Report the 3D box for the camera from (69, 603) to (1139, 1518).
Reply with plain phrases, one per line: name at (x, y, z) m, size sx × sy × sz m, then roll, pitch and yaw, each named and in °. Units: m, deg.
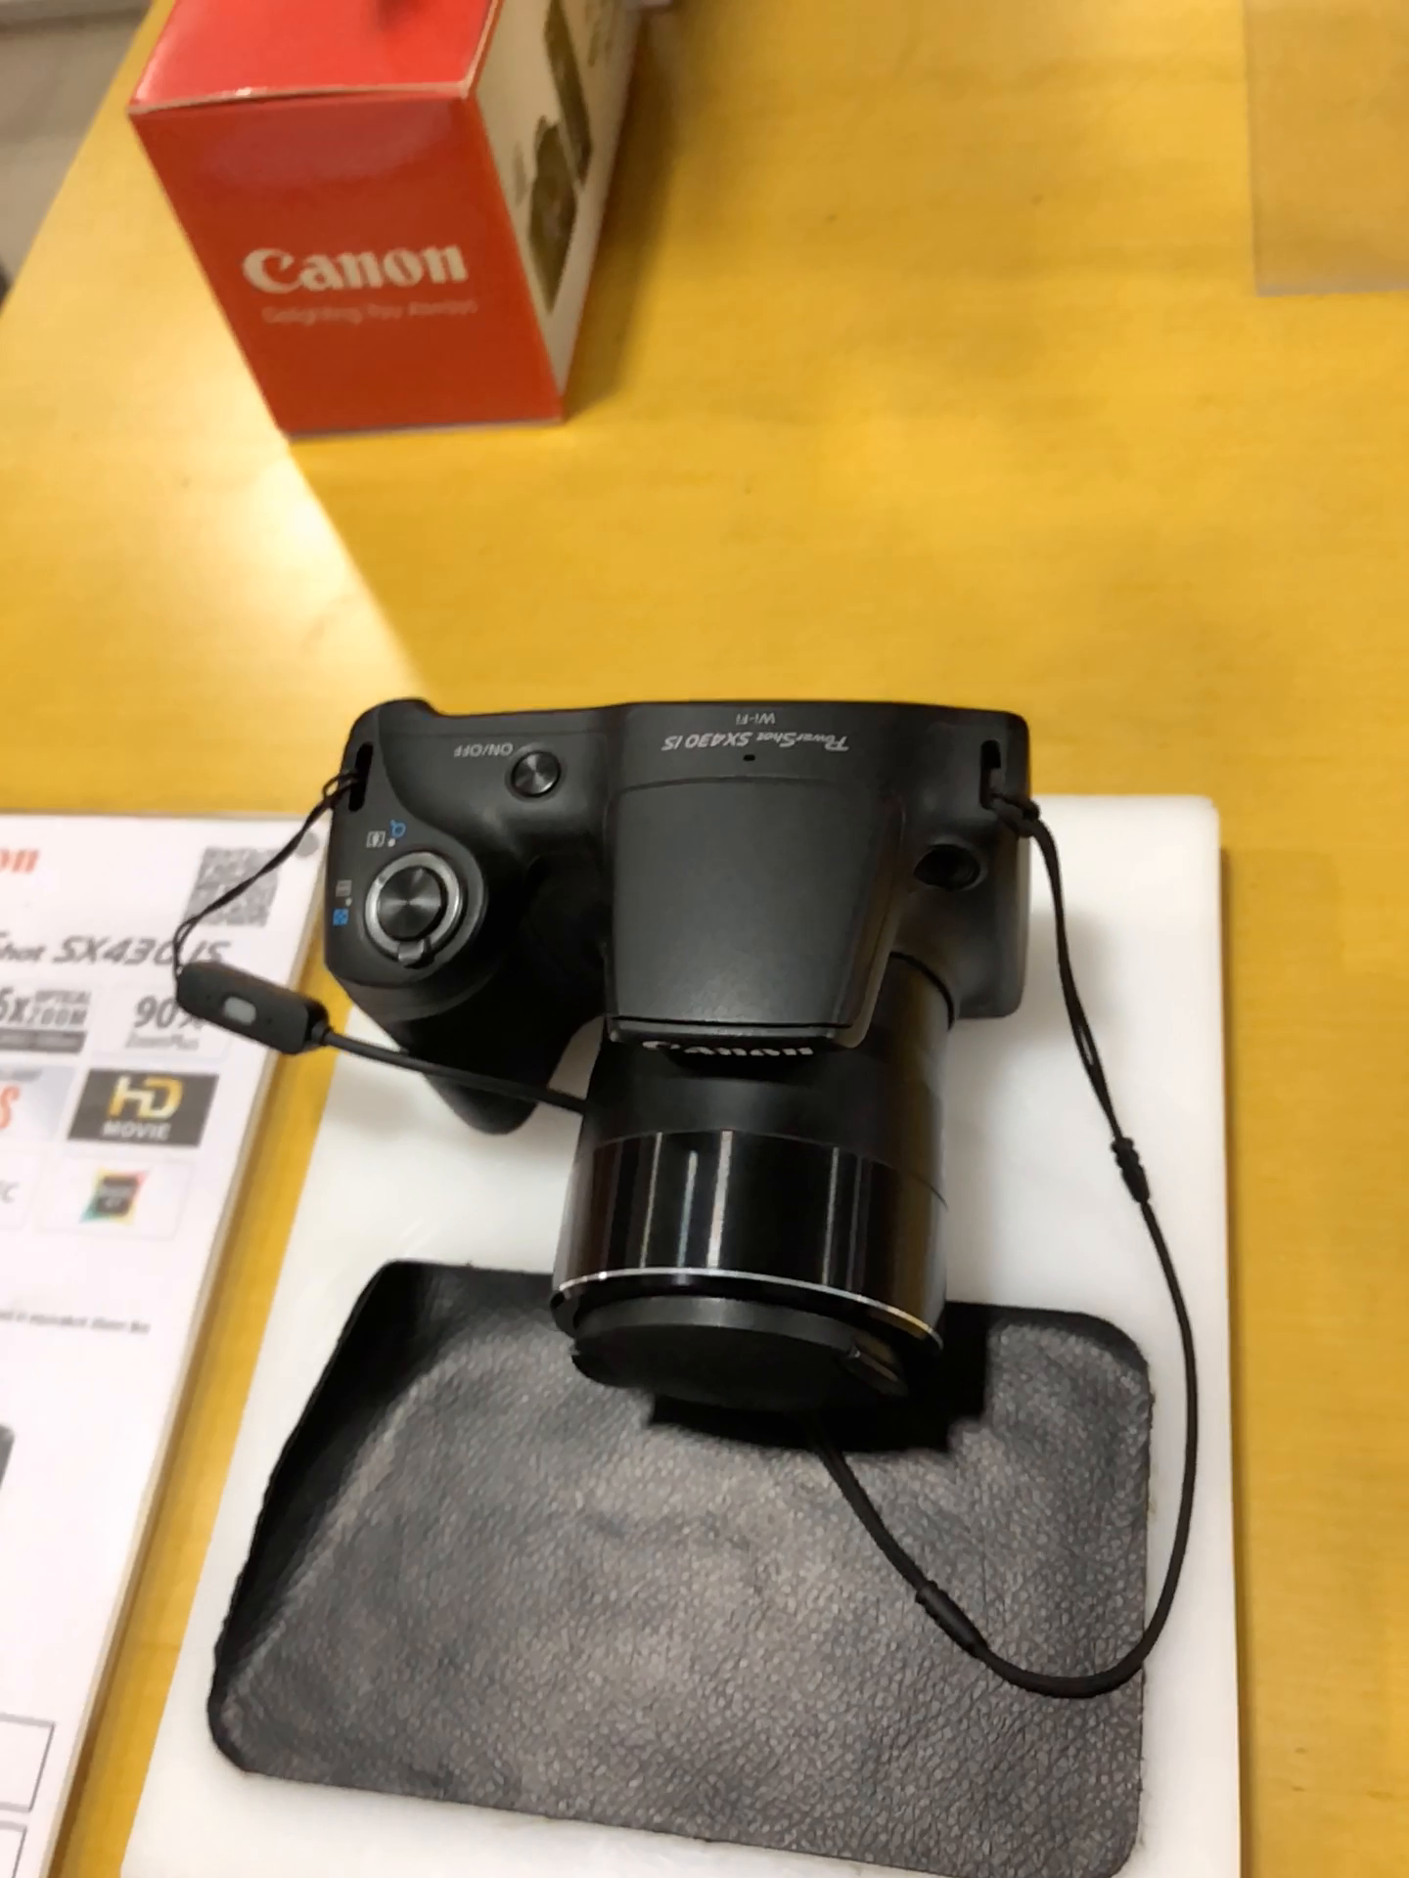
camera at (-0.002, 0.019, 0.217) m, size 0.110 × 0.090 × 0.090 m, roll 1°, pitch 61°, yaw 11°
